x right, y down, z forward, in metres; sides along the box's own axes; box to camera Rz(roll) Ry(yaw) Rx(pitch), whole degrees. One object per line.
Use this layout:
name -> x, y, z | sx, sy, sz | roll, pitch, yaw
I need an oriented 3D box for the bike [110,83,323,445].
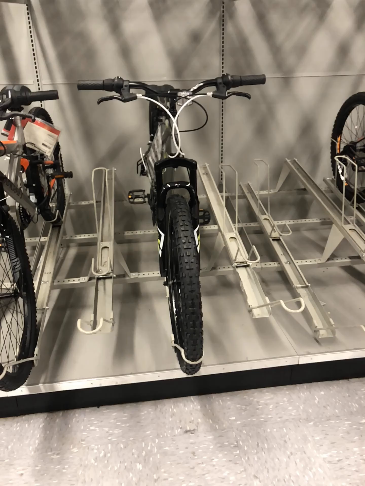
bike -> 0.004, -0.161, 1.970 | 0.607, 0.728, 1.726 | -4, 33, -5
